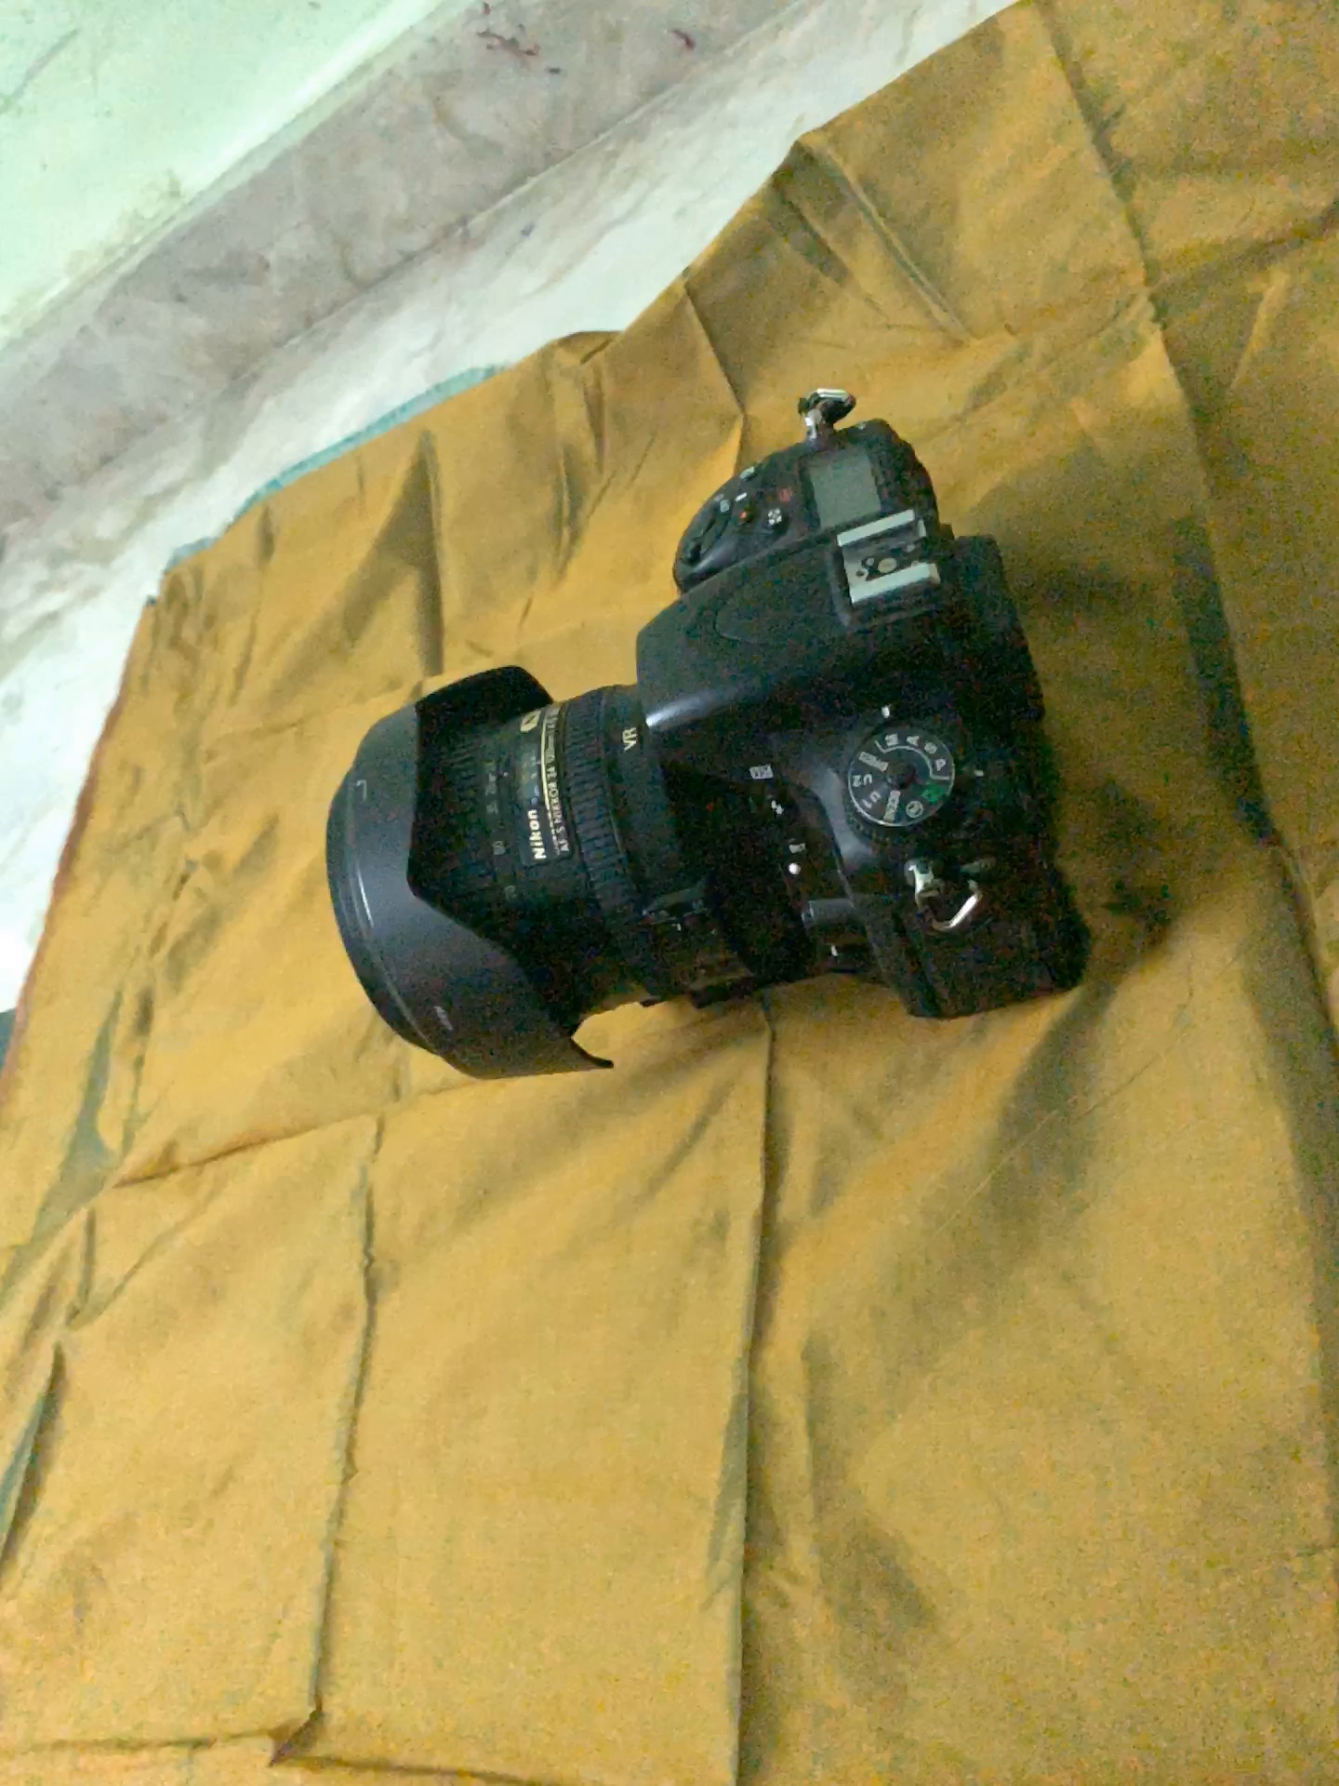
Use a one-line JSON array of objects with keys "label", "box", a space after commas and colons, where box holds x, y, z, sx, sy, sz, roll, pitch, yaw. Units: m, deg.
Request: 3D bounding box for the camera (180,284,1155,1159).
[{"label": "camera", "box": [0.001, -0.033, 0.344, 0.193, 0.100, 0.140, -14, 56, 18]}]
